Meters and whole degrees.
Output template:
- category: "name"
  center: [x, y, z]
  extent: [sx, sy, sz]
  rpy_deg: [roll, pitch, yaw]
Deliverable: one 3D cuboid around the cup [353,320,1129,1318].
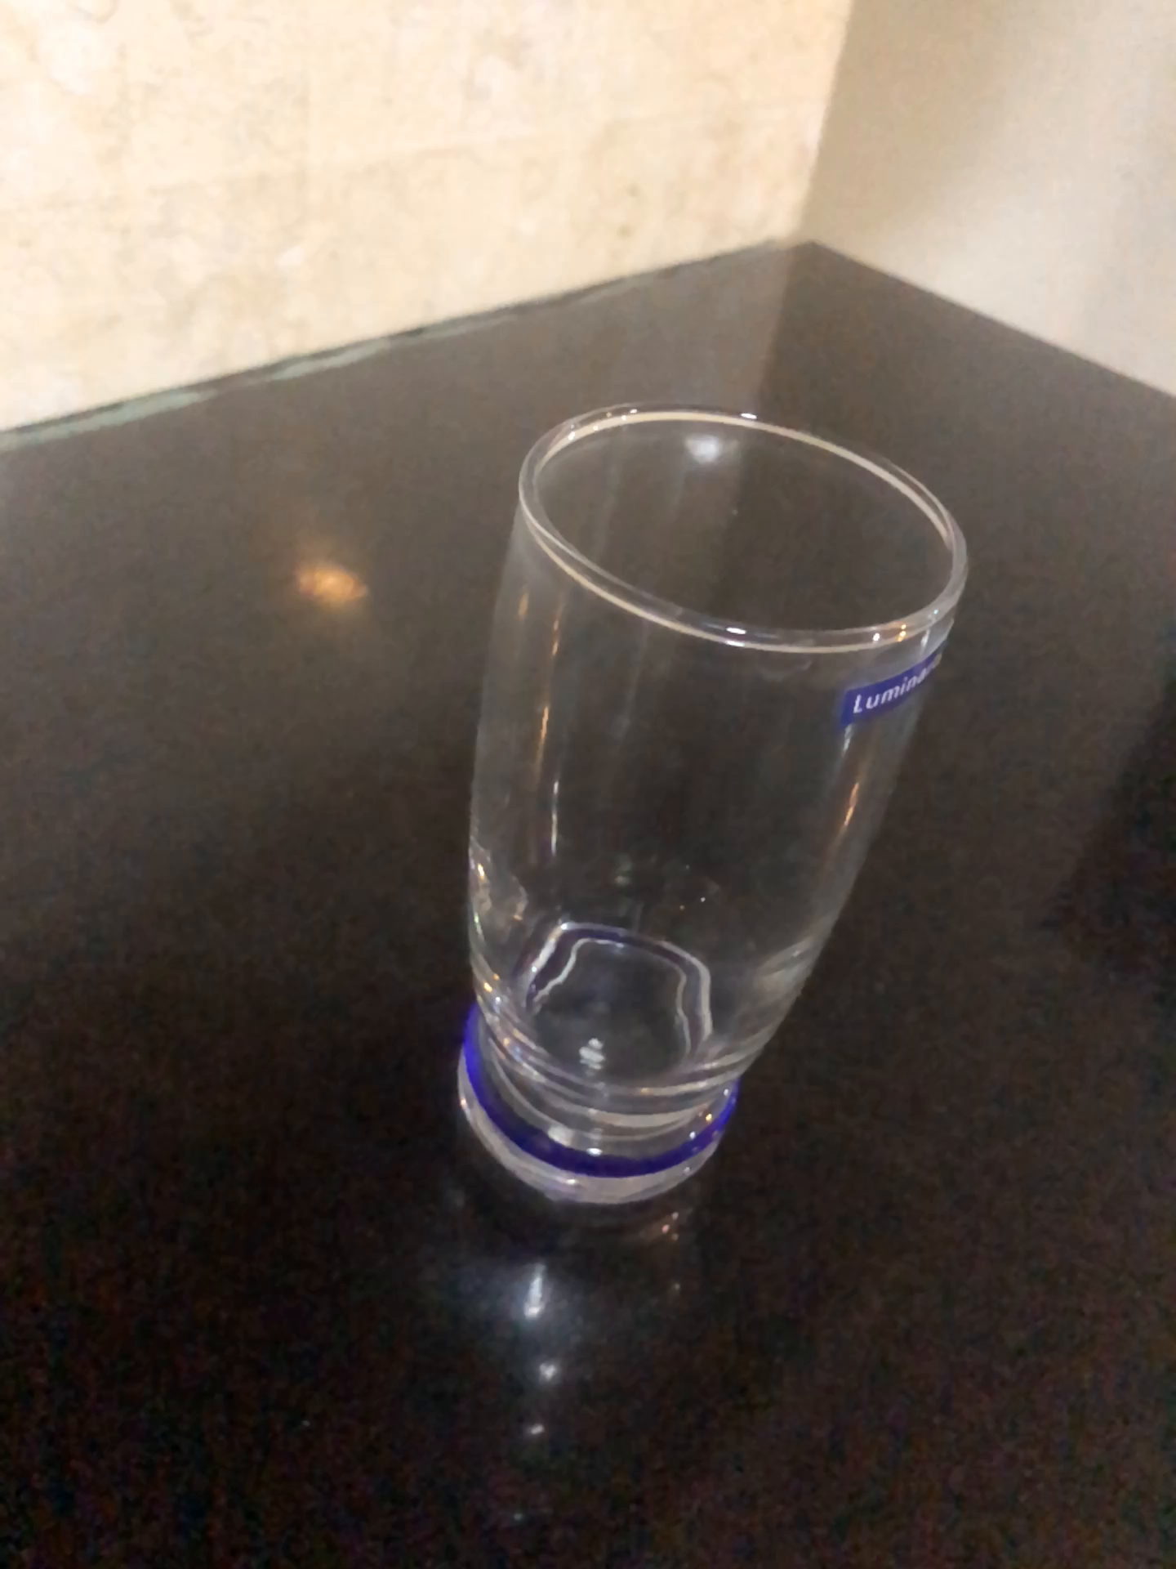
- category: "cup"
  center: [0.019, 0.006, 0.228]
  extent: [0.080, 0.129, 0.080]
  rpy_deg: [6, 39, -5]
